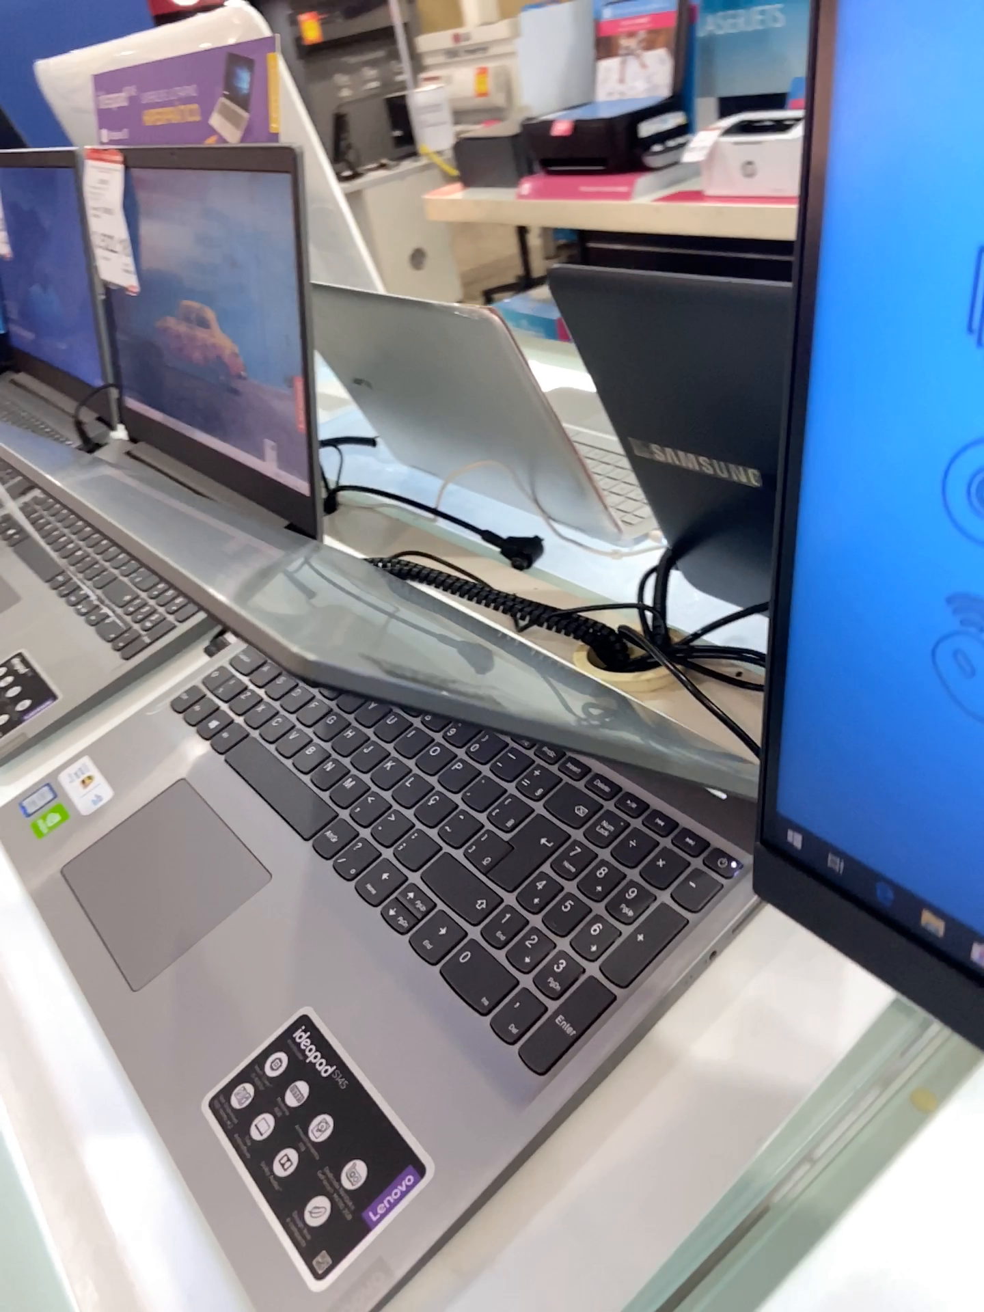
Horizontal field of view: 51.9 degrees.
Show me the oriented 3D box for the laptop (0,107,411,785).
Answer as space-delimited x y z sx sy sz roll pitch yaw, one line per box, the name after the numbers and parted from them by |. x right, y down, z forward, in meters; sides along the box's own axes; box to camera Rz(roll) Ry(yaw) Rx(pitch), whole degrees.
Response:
-0.305 -0.193 0.720 0.352 0.224 0.348 -38 41 -24 | laptop

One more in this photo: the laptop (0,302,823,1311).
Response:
-0.091 0.008 0.418 0.242 0.163 0.360 -37 39 -22 | laptop

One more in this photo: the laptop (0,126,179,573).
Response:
-0.629 -0.373 1.151 0.386 0.260 0.311 -38 43 -25 | laptop
